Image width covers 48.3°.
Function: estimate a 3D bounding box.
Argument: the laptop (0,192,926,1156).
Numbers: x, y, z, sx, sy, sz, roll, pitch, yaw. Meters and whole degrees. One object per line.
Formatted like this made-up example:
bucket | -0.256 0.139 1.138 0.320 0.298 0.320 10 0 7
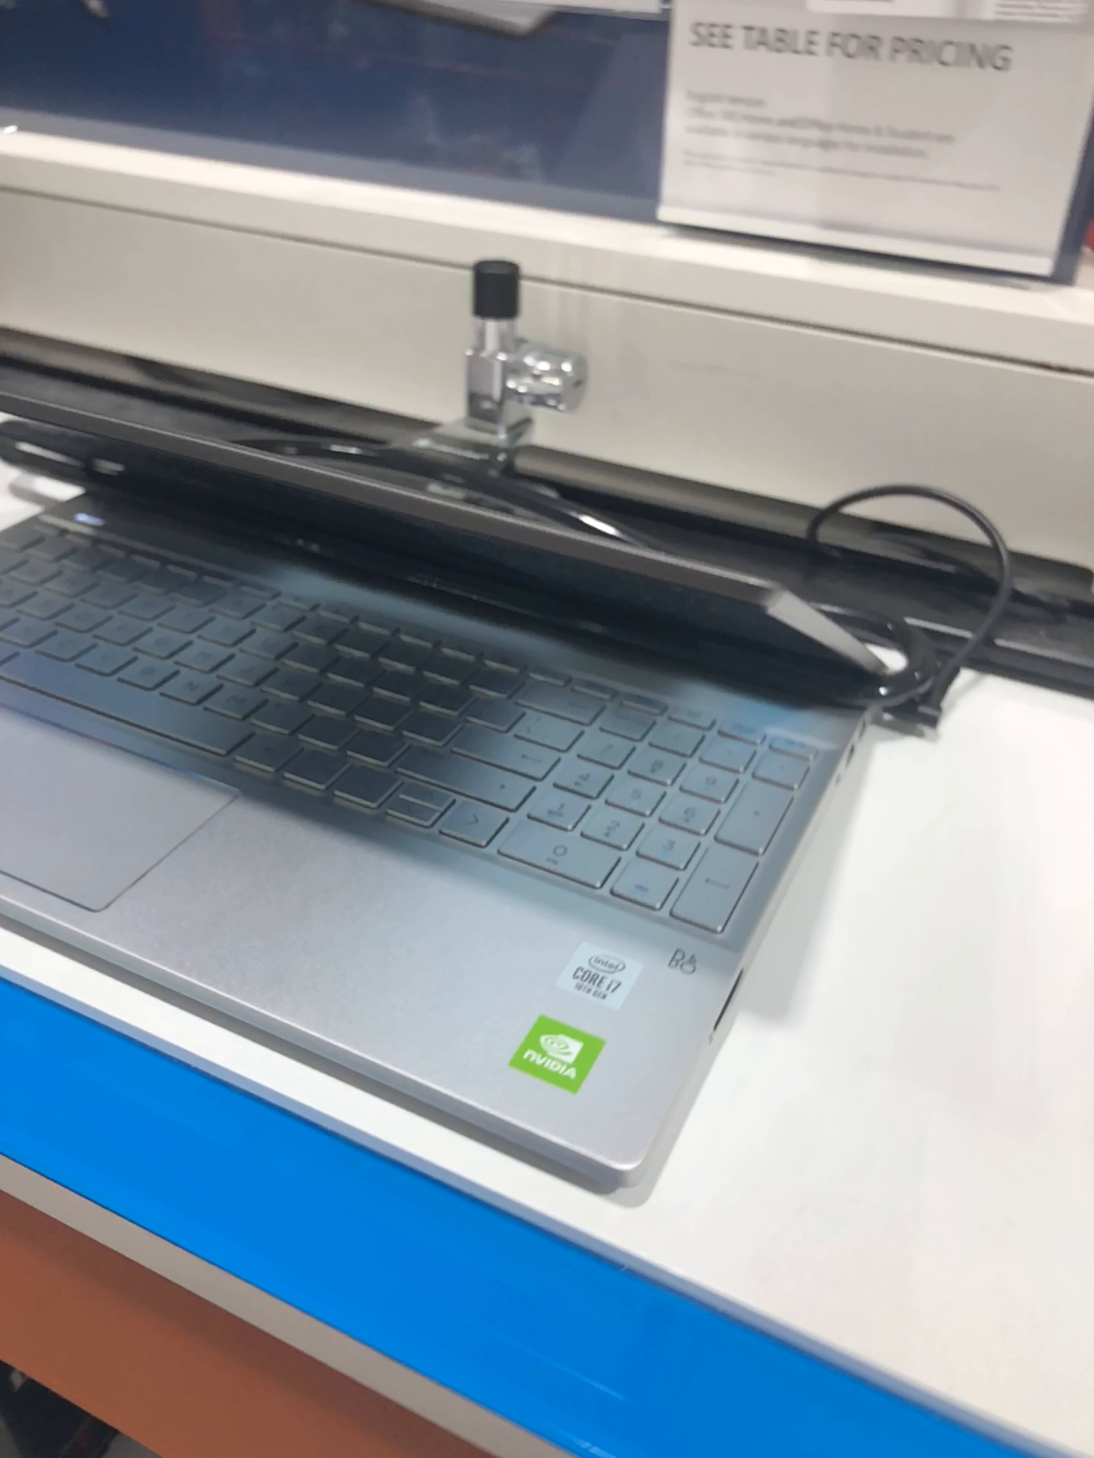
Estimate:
laptop | -0.093 -0.059 0.375 0.348 0.124 0.216 17 37 20
